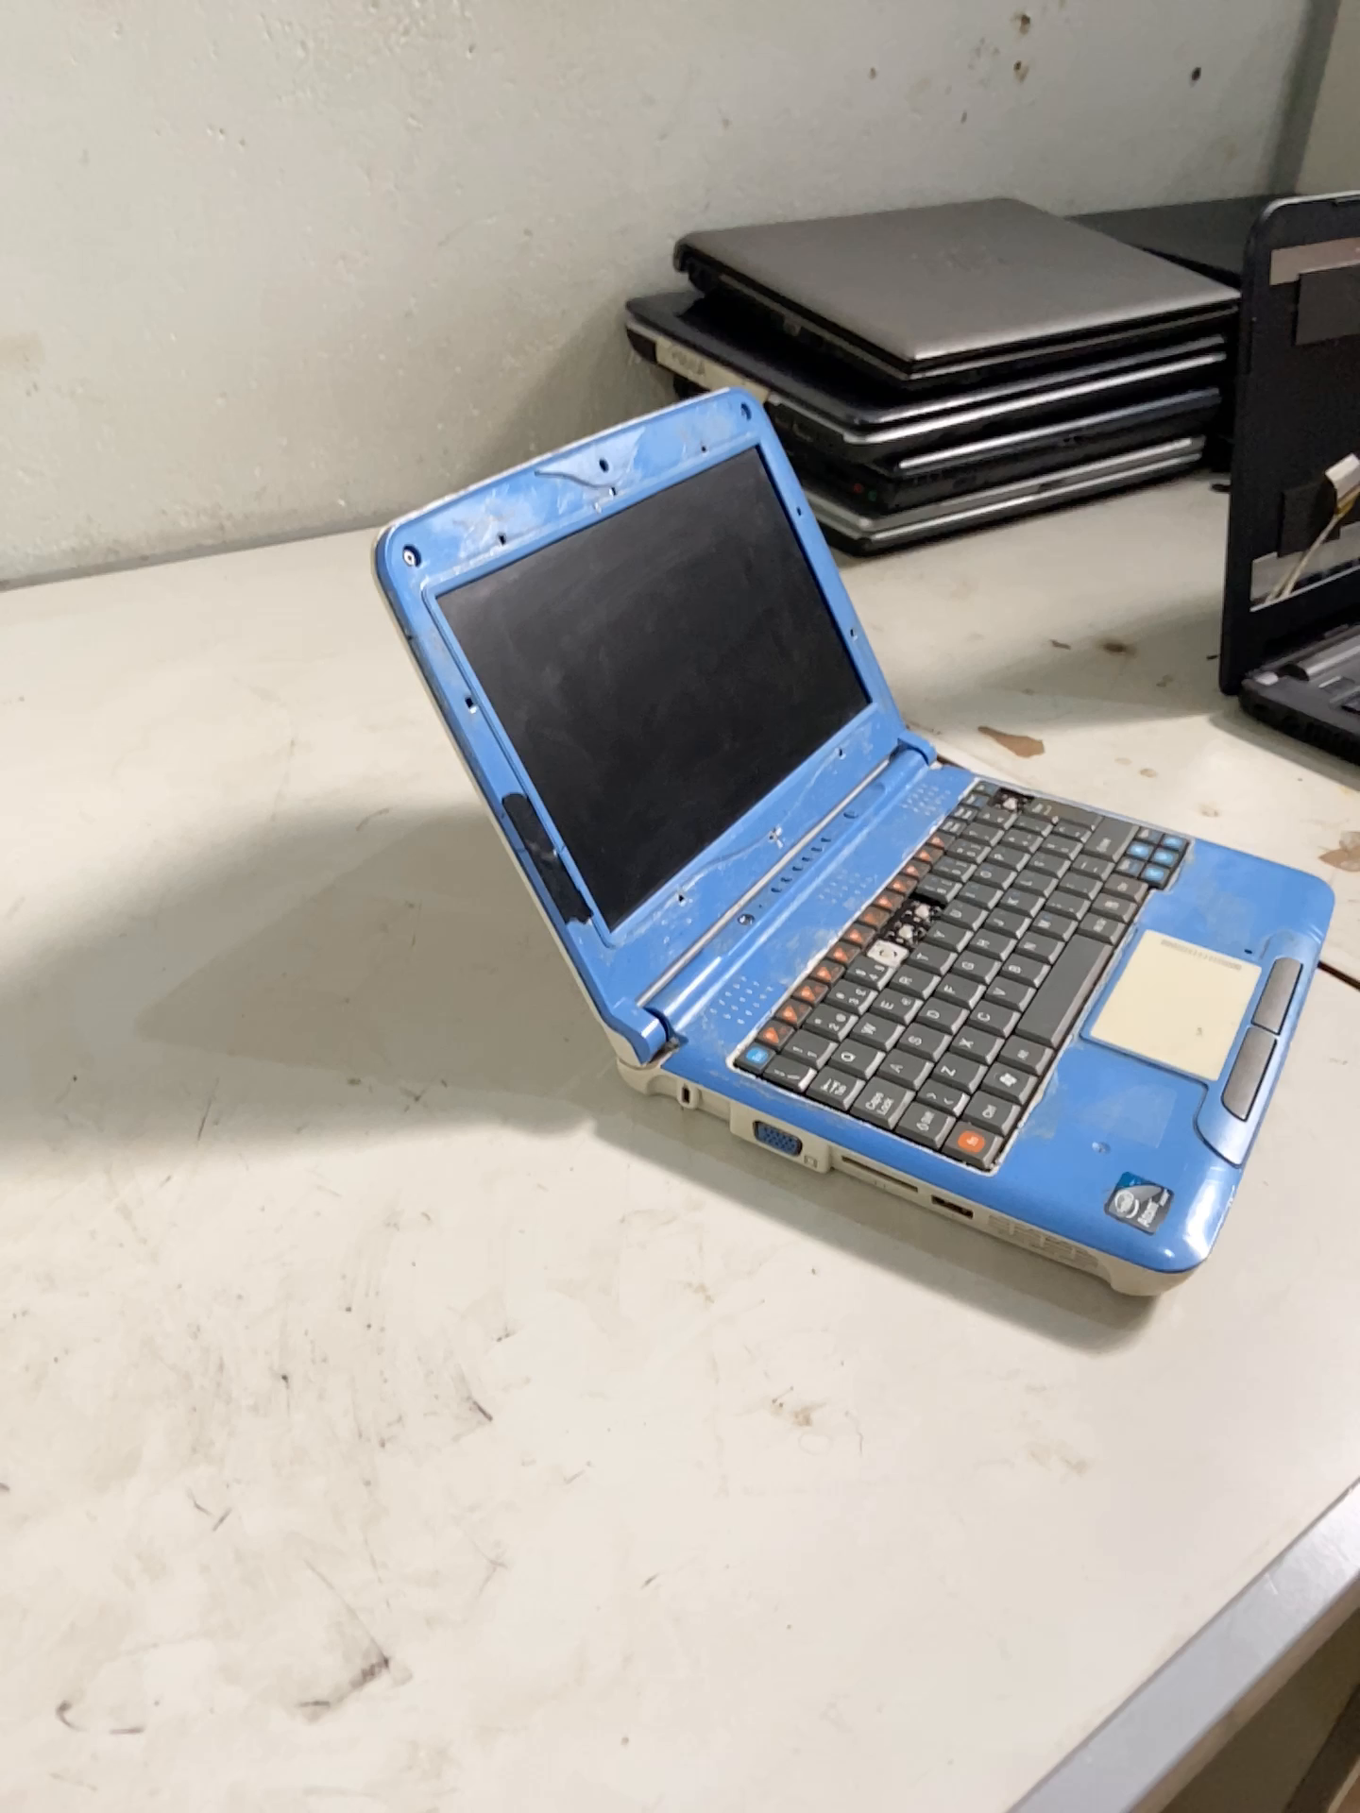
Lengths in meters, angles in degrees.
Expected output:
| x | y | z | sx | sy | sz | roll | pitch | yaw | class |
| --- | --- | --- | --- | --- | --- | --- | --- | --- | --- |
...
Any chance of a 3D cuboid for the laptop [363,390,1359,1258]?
| x | y | z | sx | sy | sz | roll | pitch | yaw | class |
| --- | --- | --- | --- | --- | --- | --- | --- | --- | --- |
| 0.086 | -0.061 | 0.503 | 0.287 | 0.149 | 0.242 | 20 | 37 | 22 | laptop |
